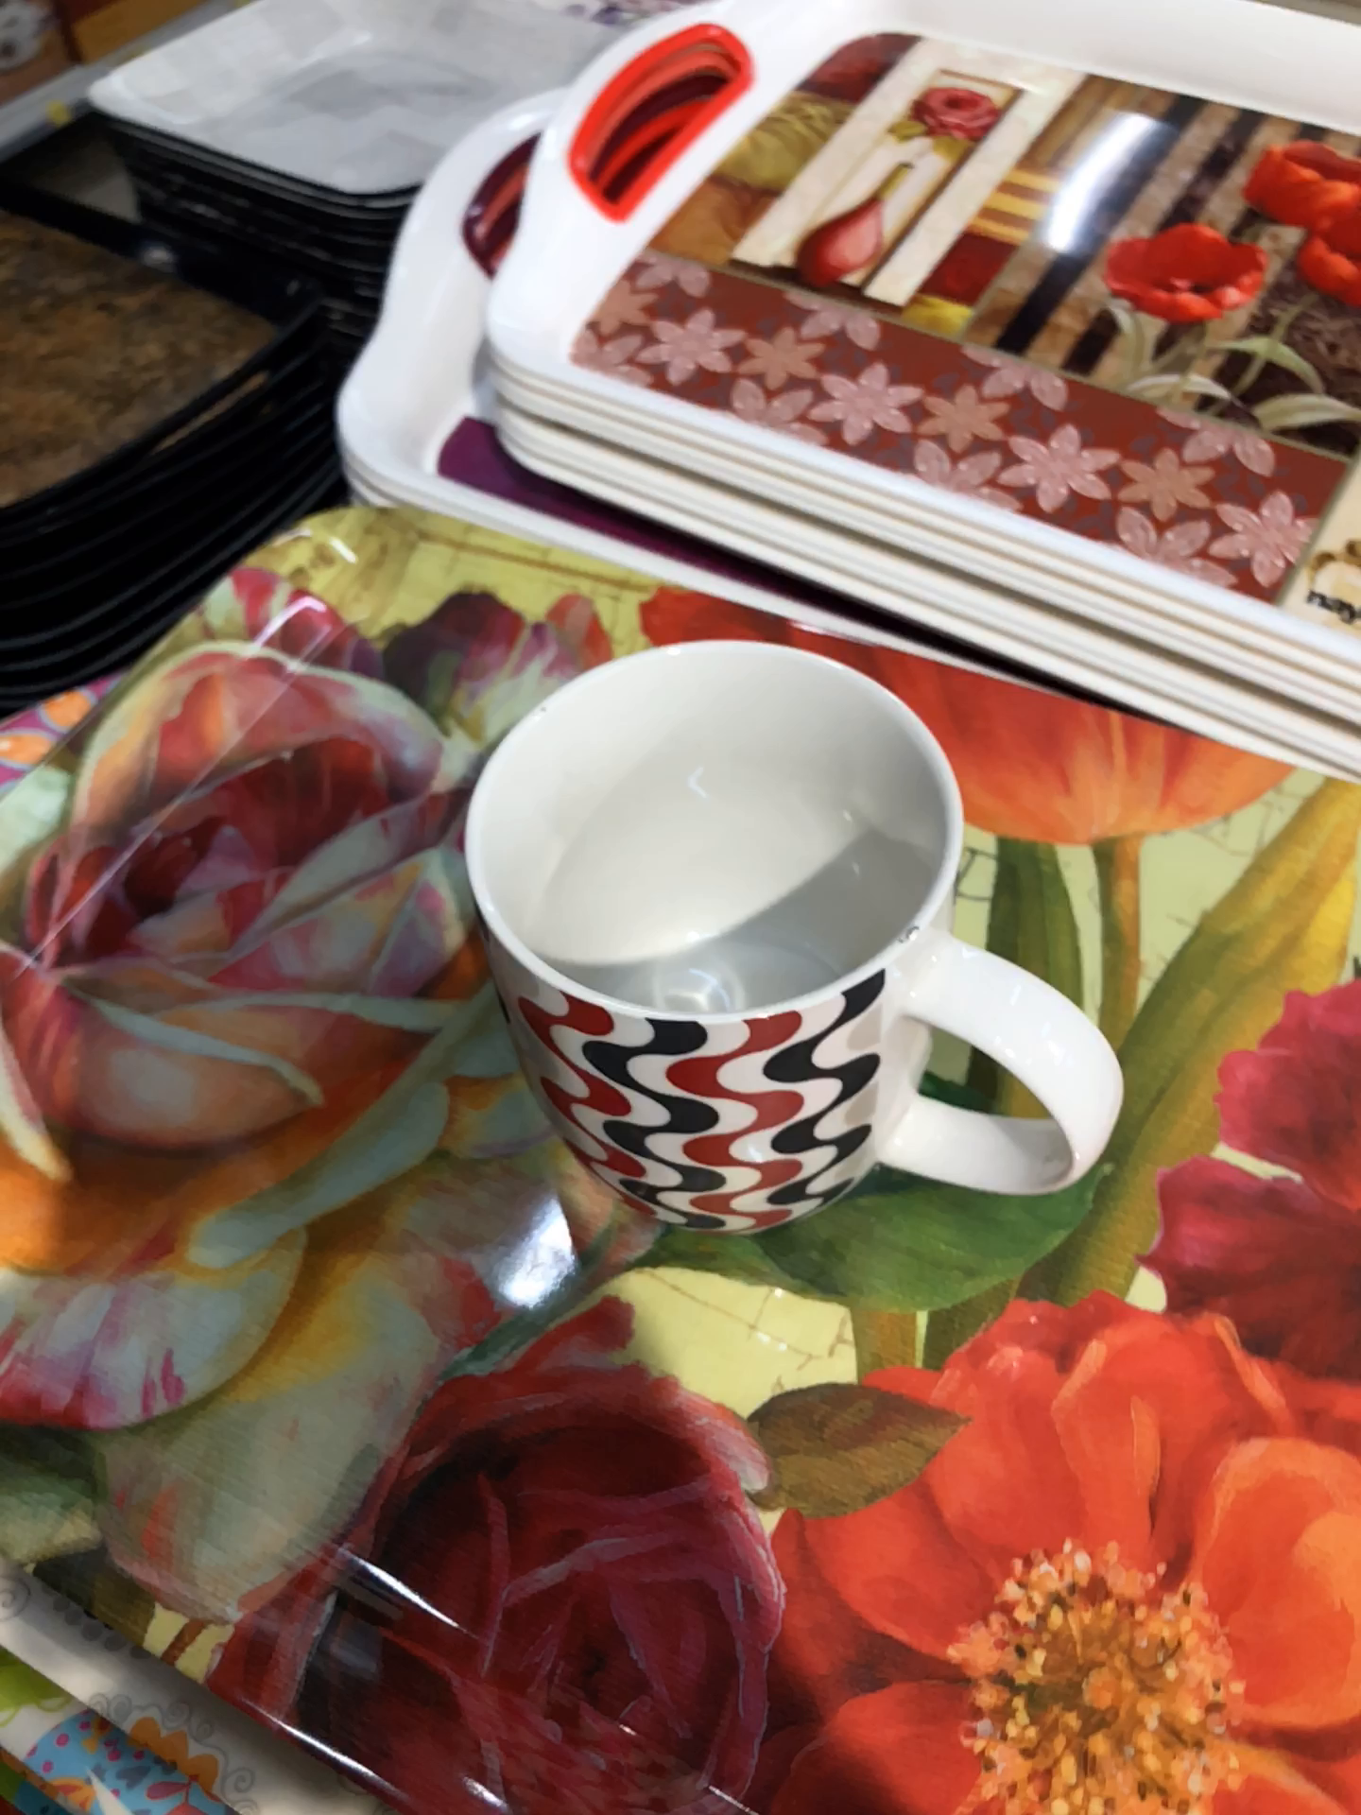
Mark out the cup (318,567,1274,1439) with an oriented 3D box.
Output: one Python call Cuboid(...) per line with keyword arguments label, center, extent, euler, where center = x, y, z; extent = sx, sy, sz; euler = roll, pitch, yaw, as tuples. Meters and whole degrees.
Cuboid(label="cup", center=(0.021, 0.013, 0.280), extent=(0.130, 0.080, 0.091), euler=(22, 54, 18))
